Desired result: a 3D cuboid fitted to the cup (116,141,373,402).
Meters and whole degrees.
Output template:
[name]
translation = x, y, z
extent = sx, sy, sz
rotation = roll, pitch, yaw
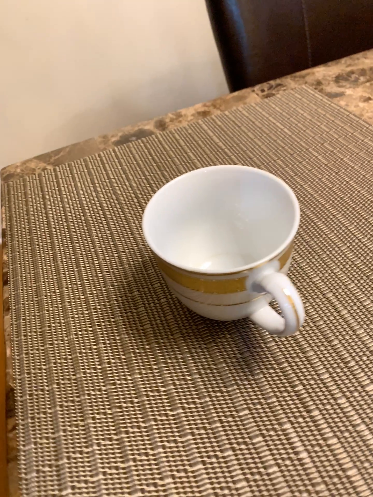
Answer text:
[cup]
translation = 0.024, 0.004, 0.201
extent = 0.082, 0.055, 0.104
rotation = -23, 46, -11
